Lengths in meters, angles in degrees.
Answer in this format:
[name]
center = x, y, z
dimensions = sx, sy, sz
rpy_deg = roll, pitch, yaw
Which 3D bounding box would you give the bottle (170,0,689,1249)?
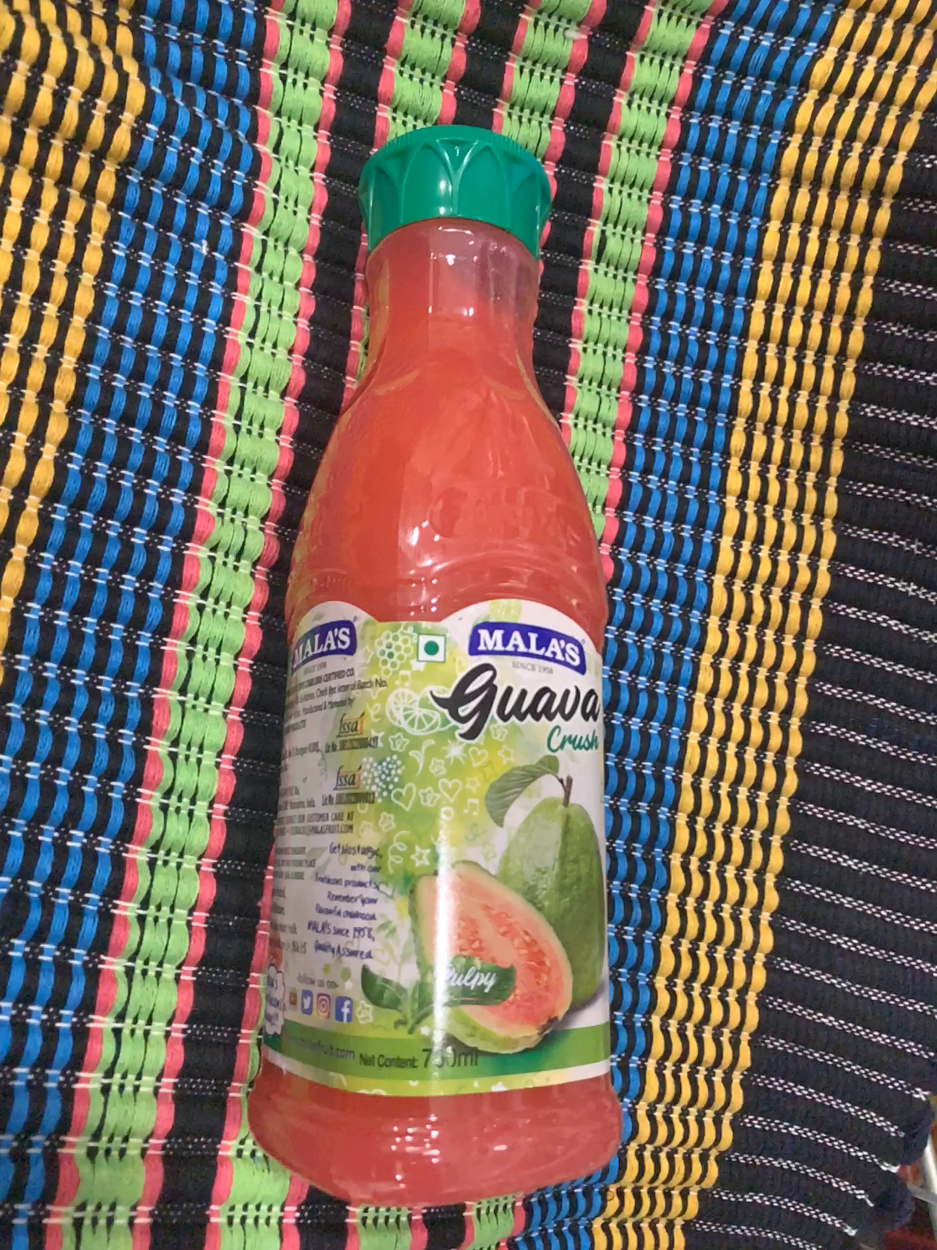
[bottle]
center = -0.015, -0.013, 0.239
dimensions = 0.080, 0.080, 0.260
rpy_deg = 8, 71, -31
